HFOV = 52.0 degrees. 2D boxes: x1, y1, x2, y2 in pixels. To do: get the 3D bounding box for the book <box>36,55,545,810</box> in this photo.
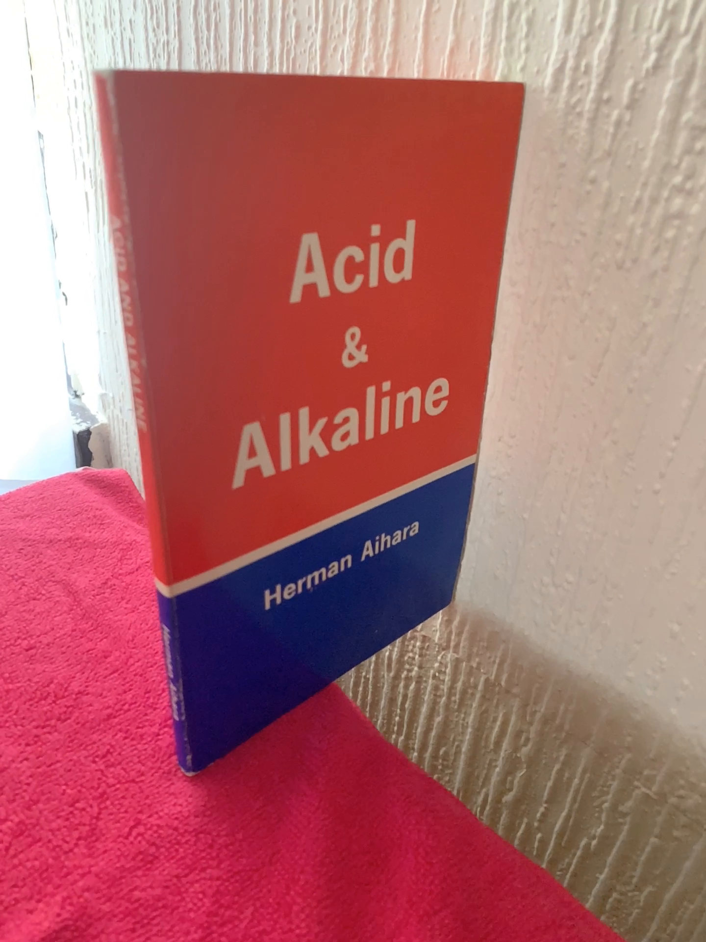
[{"bbox_3d":[-0.004,-0.012,0.234,0.151,0.208,0.020,-23,36,-38],"label":"book"}]
